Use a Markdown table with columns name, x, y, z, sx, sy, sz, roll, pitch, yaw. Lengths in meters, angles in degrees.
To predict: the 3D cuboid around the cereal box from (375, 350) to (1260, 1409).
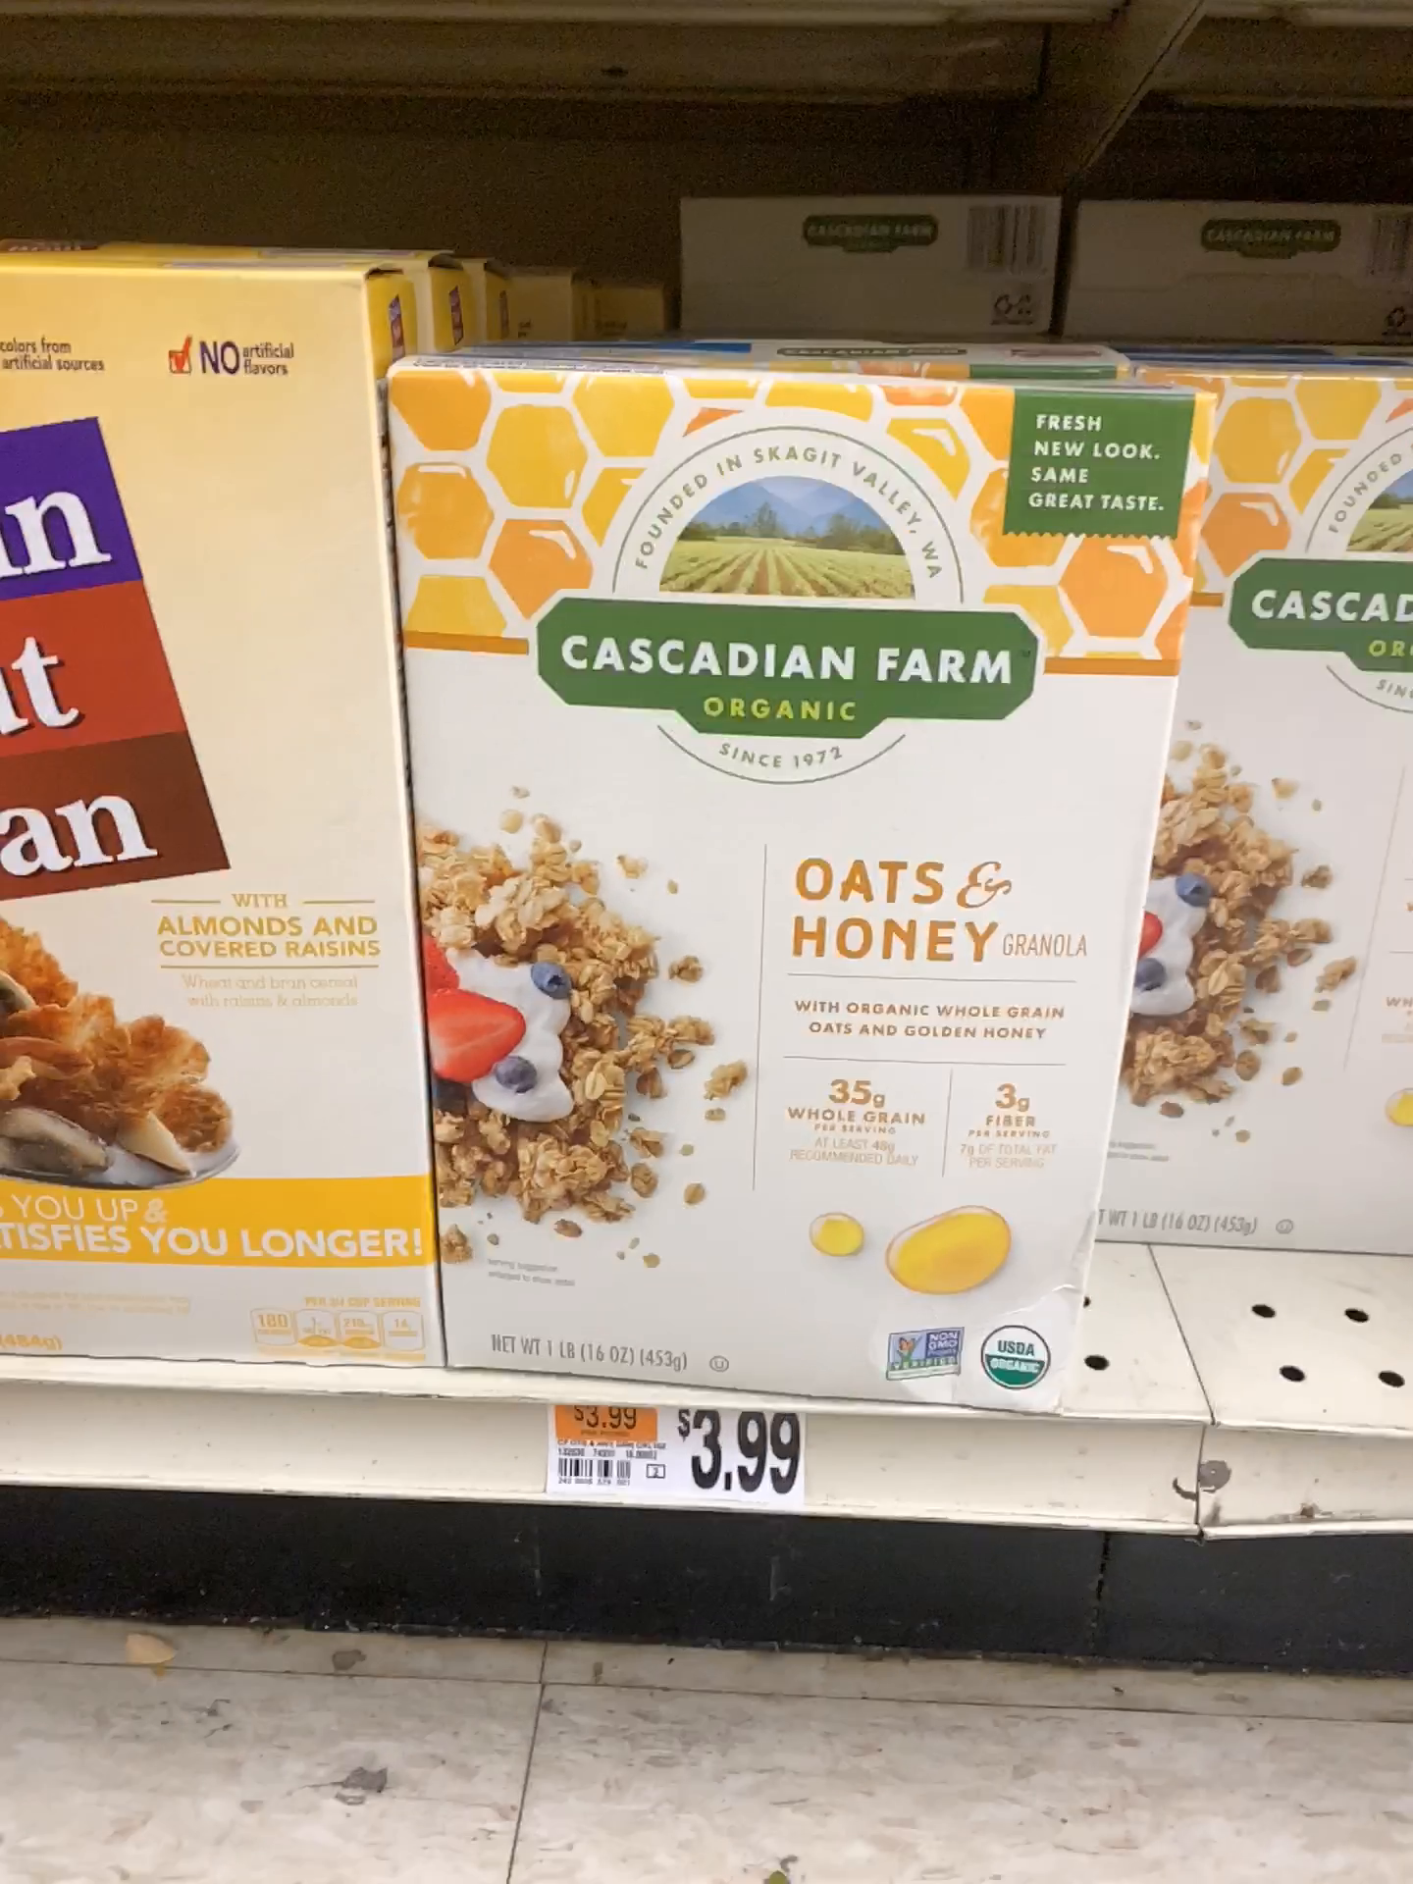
| name | x | y | z | sx | sy | sz | roll | pitch | yaw |
| --- | --- | --- | --- | --- | --- | --- | --- | --- | --- |
| cereal box | 0.019 | -0.010 | 0.336 | 0.160 | 0.229 | 0.060 | 3 | 23 | 4 |
